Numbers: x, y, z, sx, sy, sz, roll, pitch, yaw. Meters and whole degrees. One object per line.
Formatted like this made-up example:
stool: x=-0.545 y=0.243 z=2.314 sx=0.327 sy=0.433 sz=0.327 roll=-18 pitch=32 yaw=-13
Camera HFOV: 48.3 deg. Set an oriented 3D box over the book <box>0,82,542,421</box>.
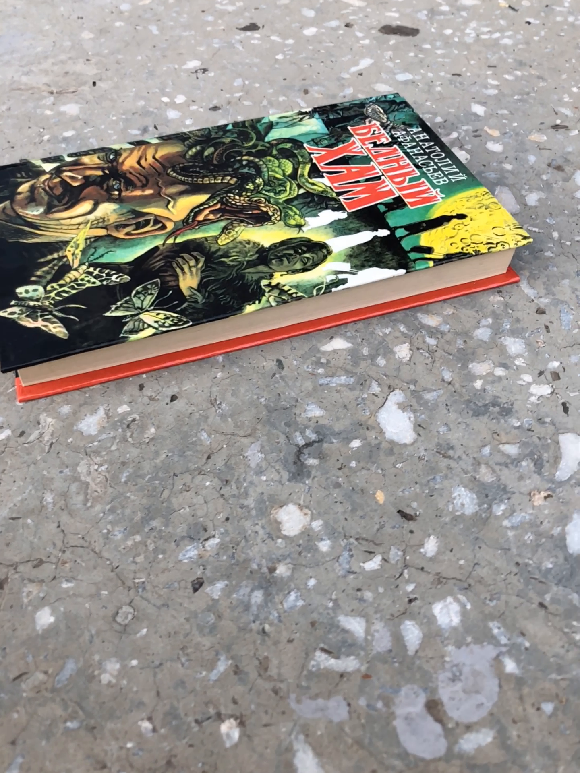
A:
book: x=-0.021 y=-0.072 z=0.280 sx=0.201 sy=0.020 sz=0.143 roll=-15 pitch=52 yaw=-9
